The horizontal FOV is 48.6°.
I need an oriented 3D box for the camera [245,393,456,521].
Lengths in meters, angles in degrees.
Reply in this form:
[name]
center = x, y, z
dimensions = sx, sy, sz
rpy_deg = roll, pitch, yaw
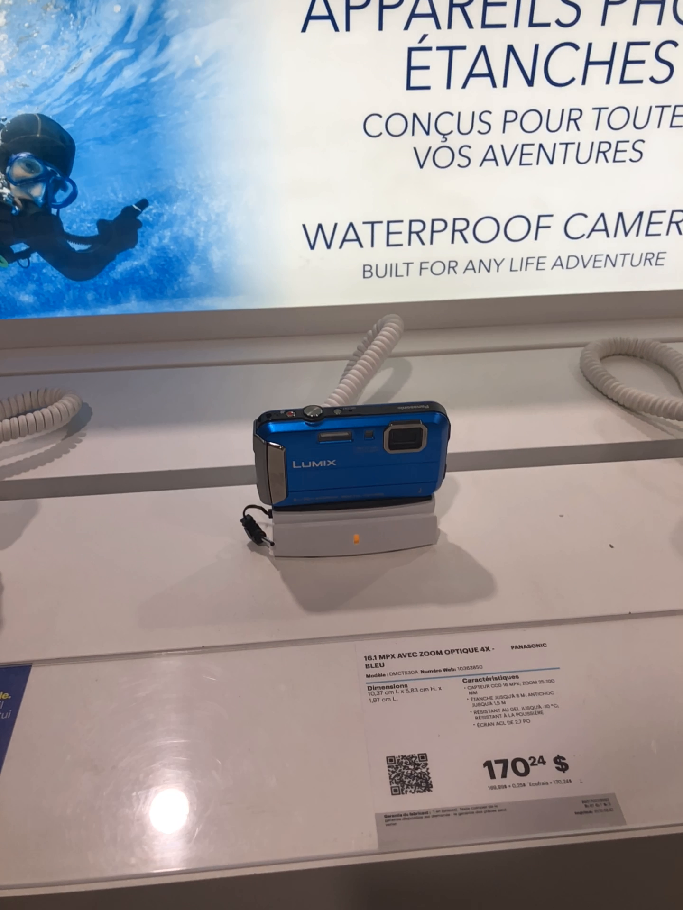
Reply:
[camera]
center = 0.005, 0.001, 0.402
dimensions = 0.106, 0.060, 0.020
rpy_deg = -4, 36, -5
